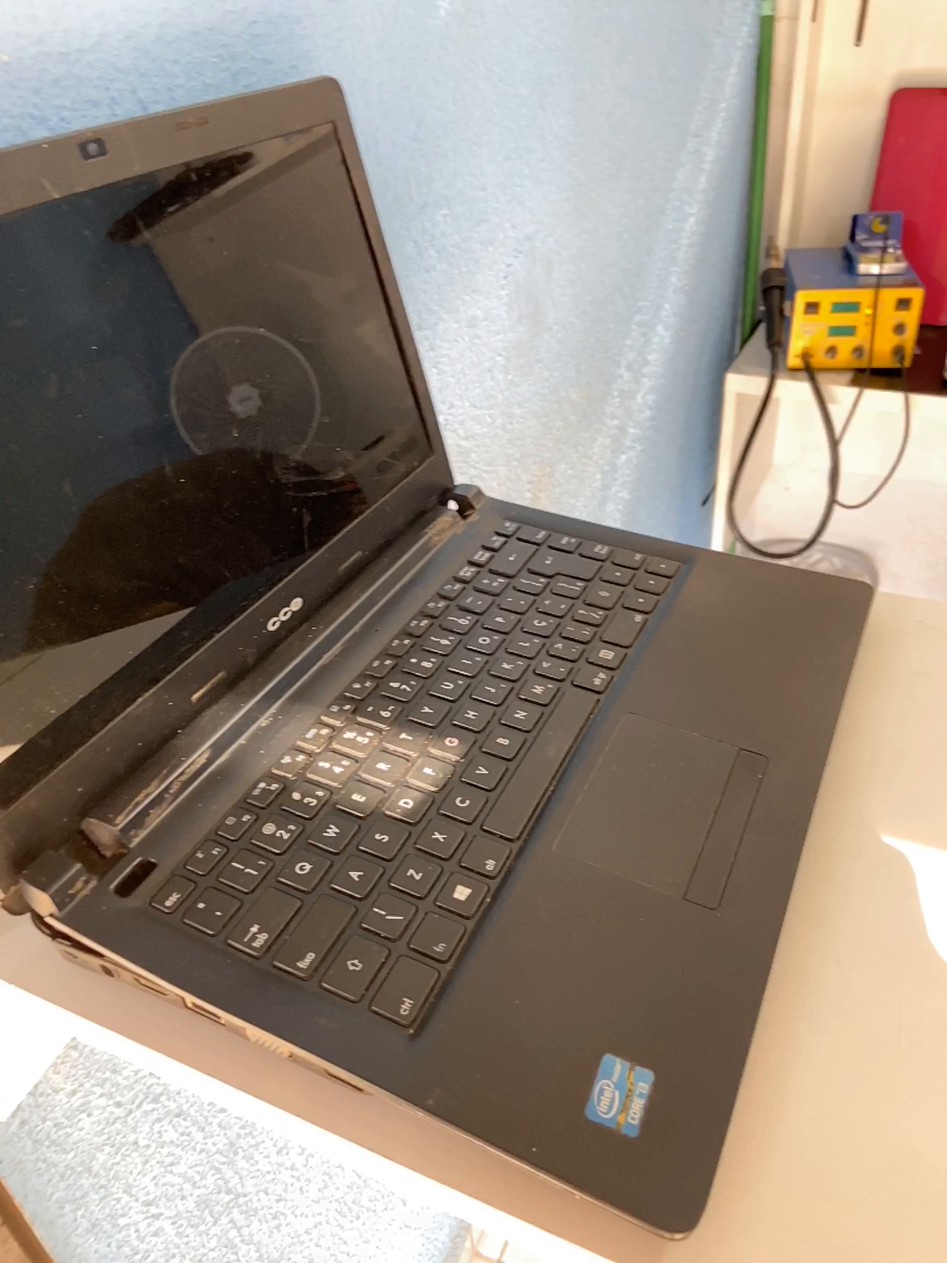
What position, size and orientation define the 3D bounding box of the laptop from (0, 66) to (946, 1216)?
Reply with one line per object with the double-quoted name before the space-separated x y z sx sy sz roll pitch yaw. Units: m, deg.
"laptop" -0.017 -0.066 0.374 0.312 0.211 0.335 16 39 22
